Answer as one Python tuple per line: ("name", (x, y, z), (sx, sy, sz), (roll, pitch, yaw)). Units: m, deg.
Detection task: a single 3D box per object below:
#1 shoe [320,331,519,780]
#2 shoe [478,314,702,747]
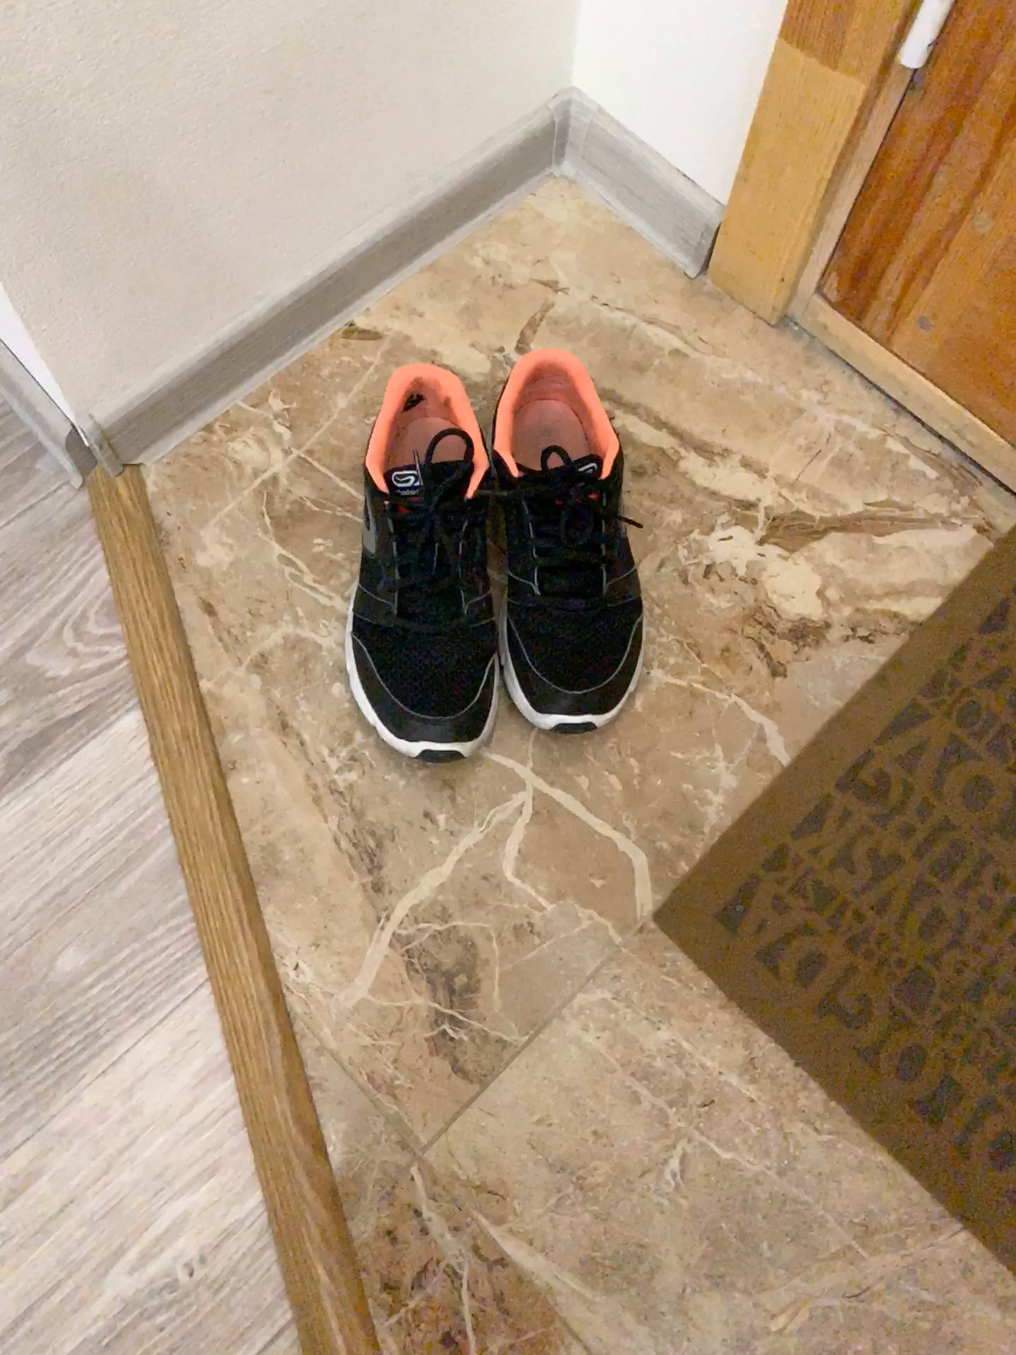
("shoe", (-0.057, -0.075, 0.636), (0.100, 0.100, 0.250), (-3, 68, -4))
("shoe", (0.041, -0.092, 0.644), (0.100, 0.100, 0.245), (-3, 68, -4))
